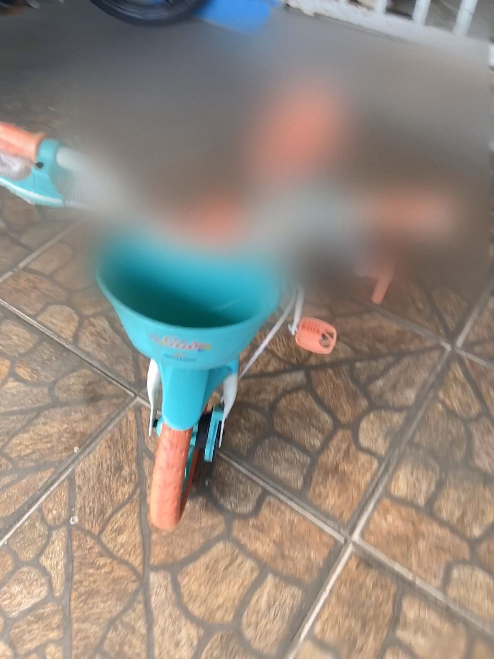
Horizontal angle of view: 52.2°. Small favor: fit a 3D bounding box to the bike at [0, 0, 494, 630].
[{"bbox_3d":[0.058,-0.124,0.798,0.498,0.534,0.810,17,52,13],"label":"bike"}]
